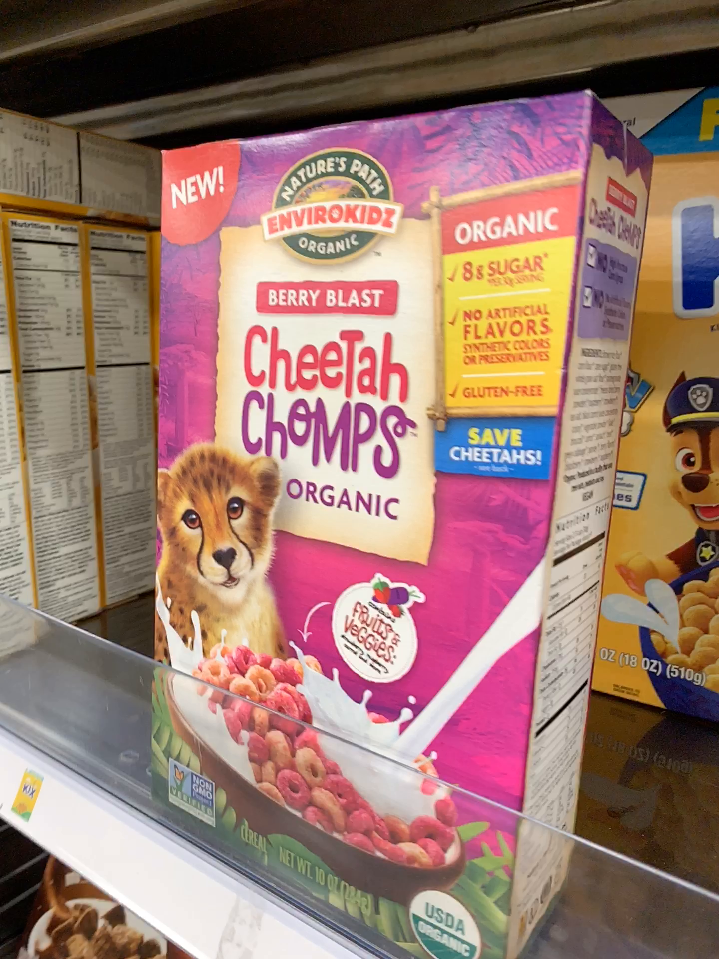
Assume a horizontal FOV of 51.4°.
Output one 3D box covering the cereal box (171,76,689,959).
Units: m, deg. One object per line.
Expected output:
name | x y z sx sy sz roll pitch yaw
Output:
cereal box | 0.011 0.019 0.273 0.160 0.269 0.060 10 12 35
